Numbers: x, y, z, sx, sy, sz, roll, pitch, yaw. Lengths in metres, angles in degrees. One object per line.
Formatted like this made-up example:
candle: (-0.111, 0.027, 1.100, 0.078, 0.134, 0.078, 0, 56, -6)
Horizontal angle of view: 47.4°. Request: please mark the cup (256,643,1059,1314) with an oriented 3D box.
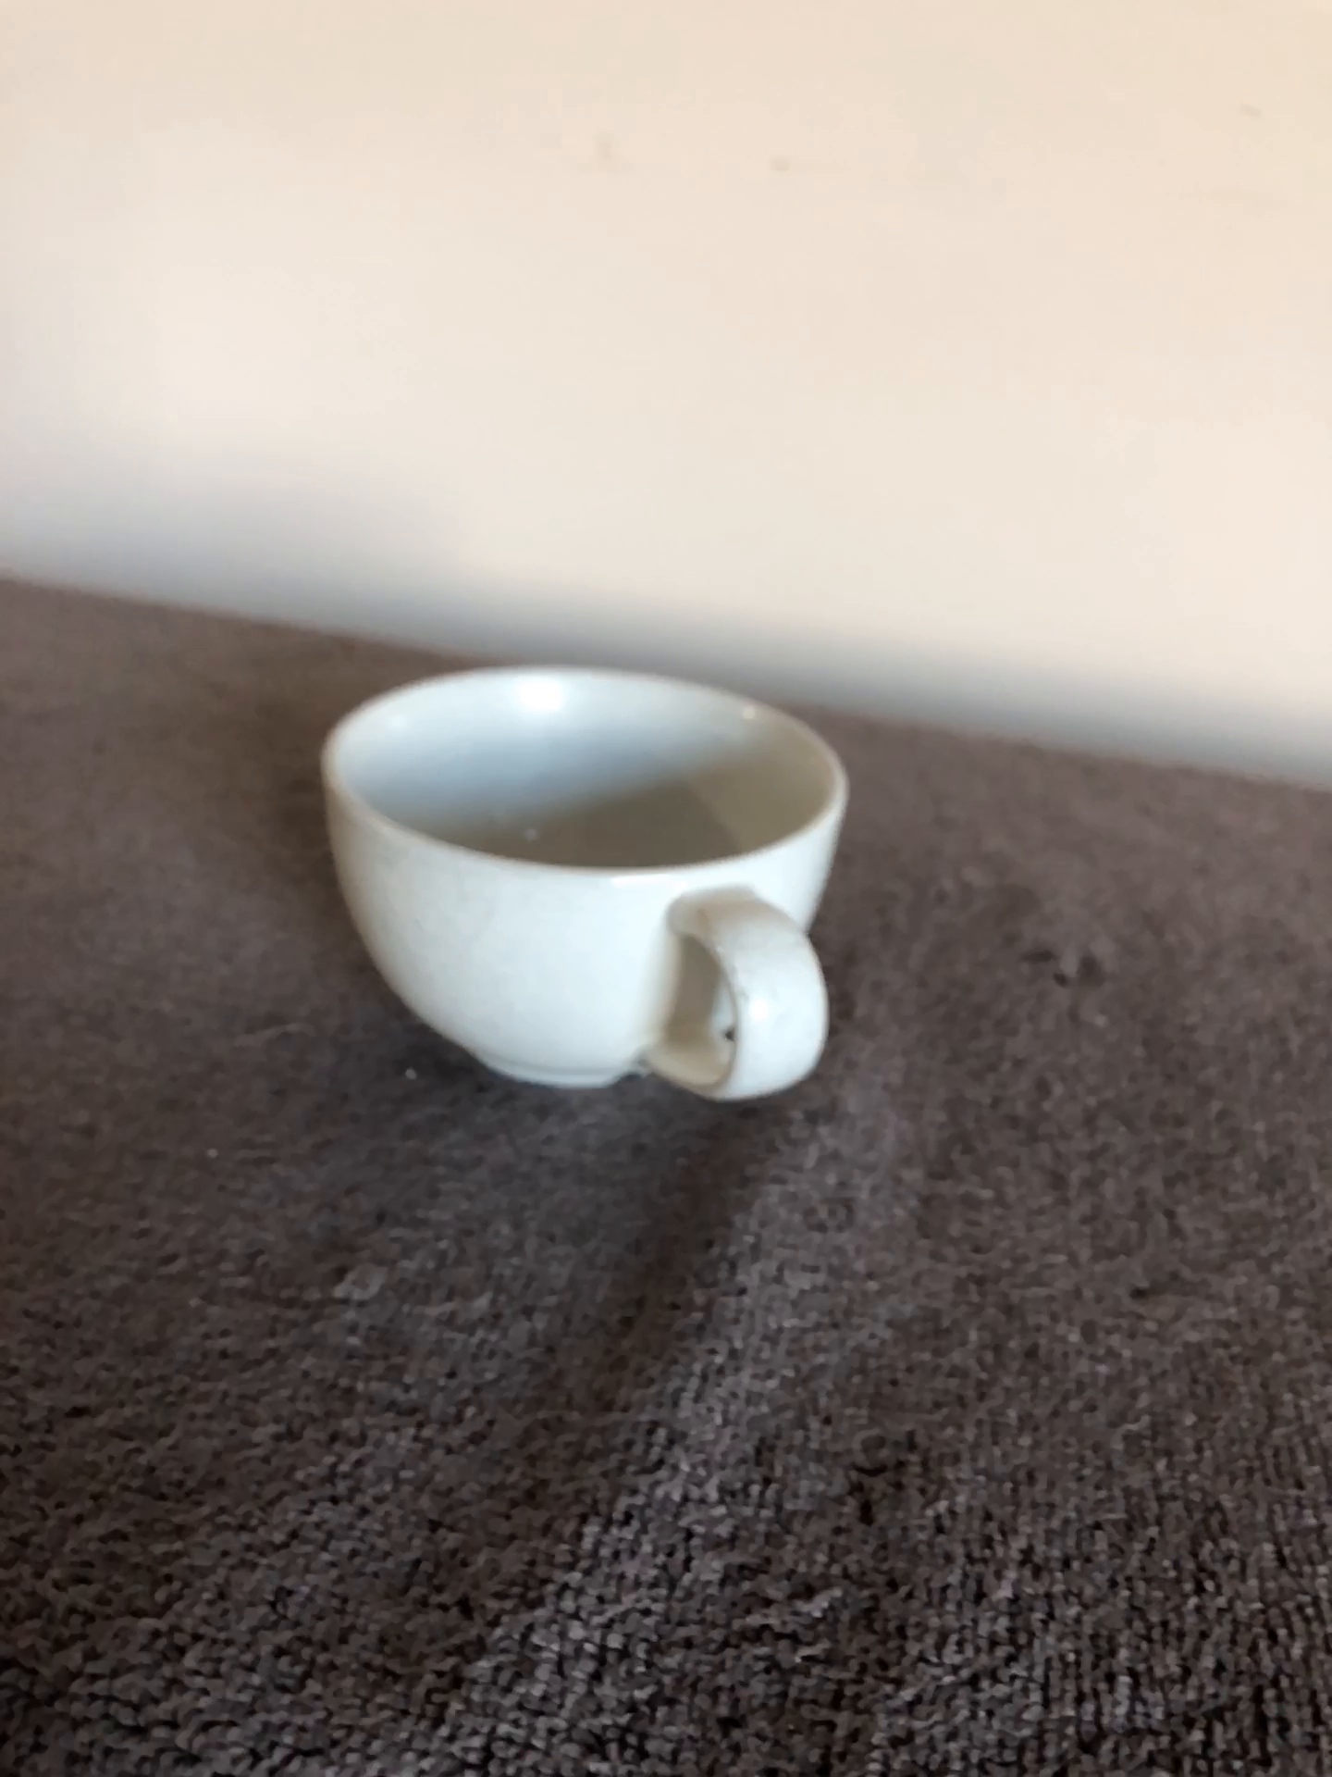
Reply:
cup: (-0.010, 0.004, 0.267, 0.090, 0.050, 0.120, -11, 30, -26)
